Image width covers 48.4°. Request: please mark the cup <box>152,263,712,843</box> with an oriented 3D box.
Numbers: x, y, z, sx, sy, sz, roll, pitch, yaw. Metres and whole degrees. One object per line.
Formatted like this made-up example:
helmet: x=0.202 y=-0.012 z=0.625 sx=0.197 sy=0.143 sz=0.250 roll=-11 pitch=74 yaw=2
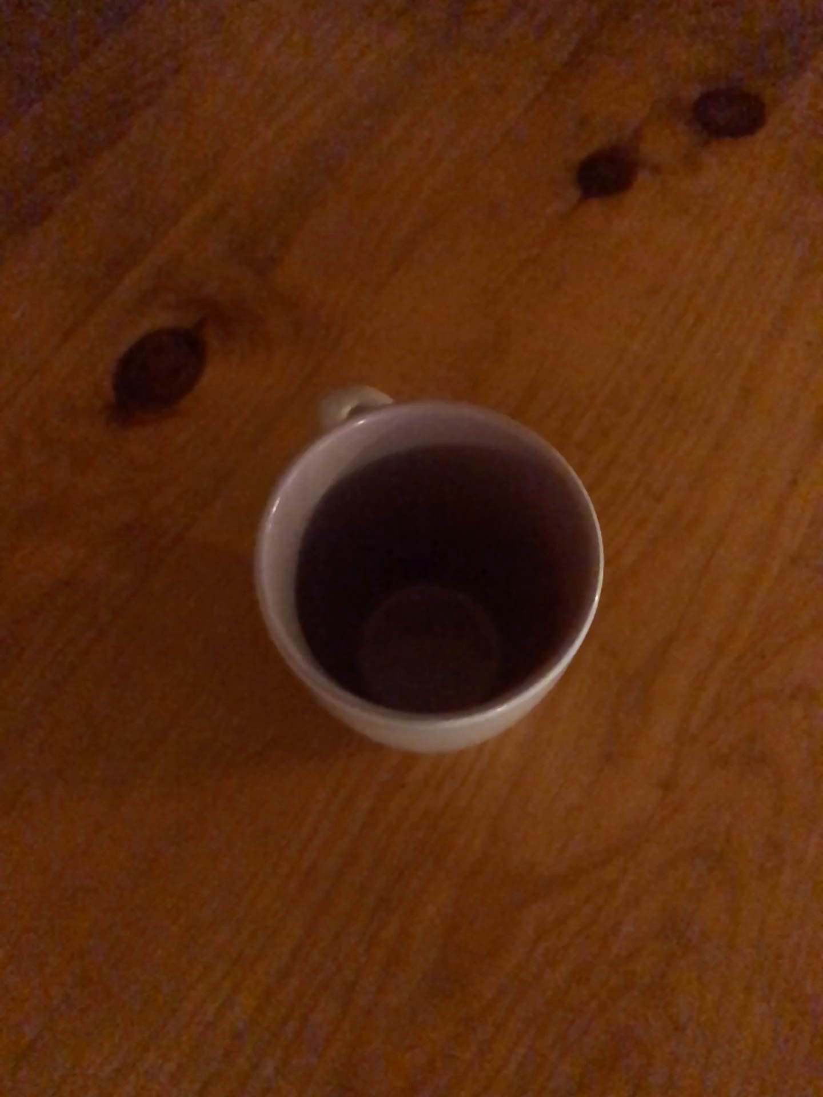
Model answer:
cup: x=0.002 y=0.006 z=0.280 sx=0.100 sy=0.096 sz=0.120 roll=-25 pitch=69 yaw=-11
